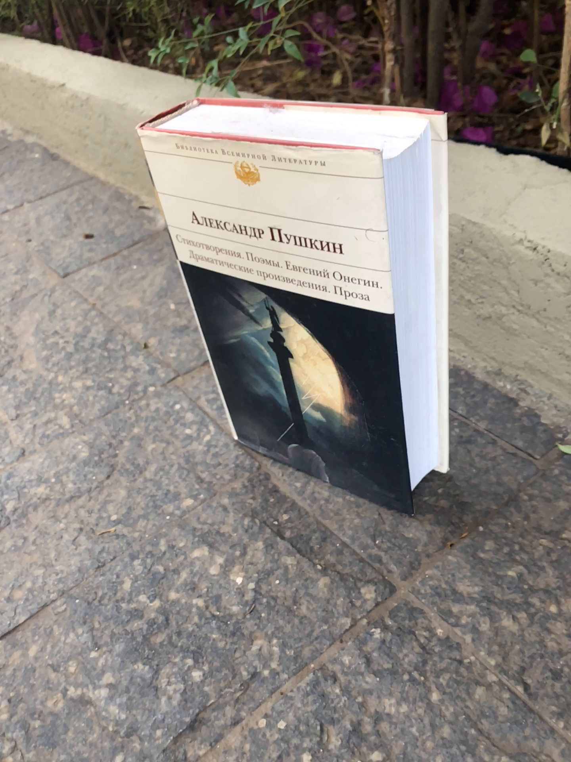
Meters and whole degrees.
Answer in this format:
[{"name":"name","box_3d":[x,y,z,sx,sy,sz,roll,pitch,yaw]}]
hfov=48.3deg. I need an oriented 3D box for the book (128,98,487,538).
[{"name":"book","box_3d":[0.016,-0.030,0.332,0.150,0.203,0.050,19,47,31]}]
